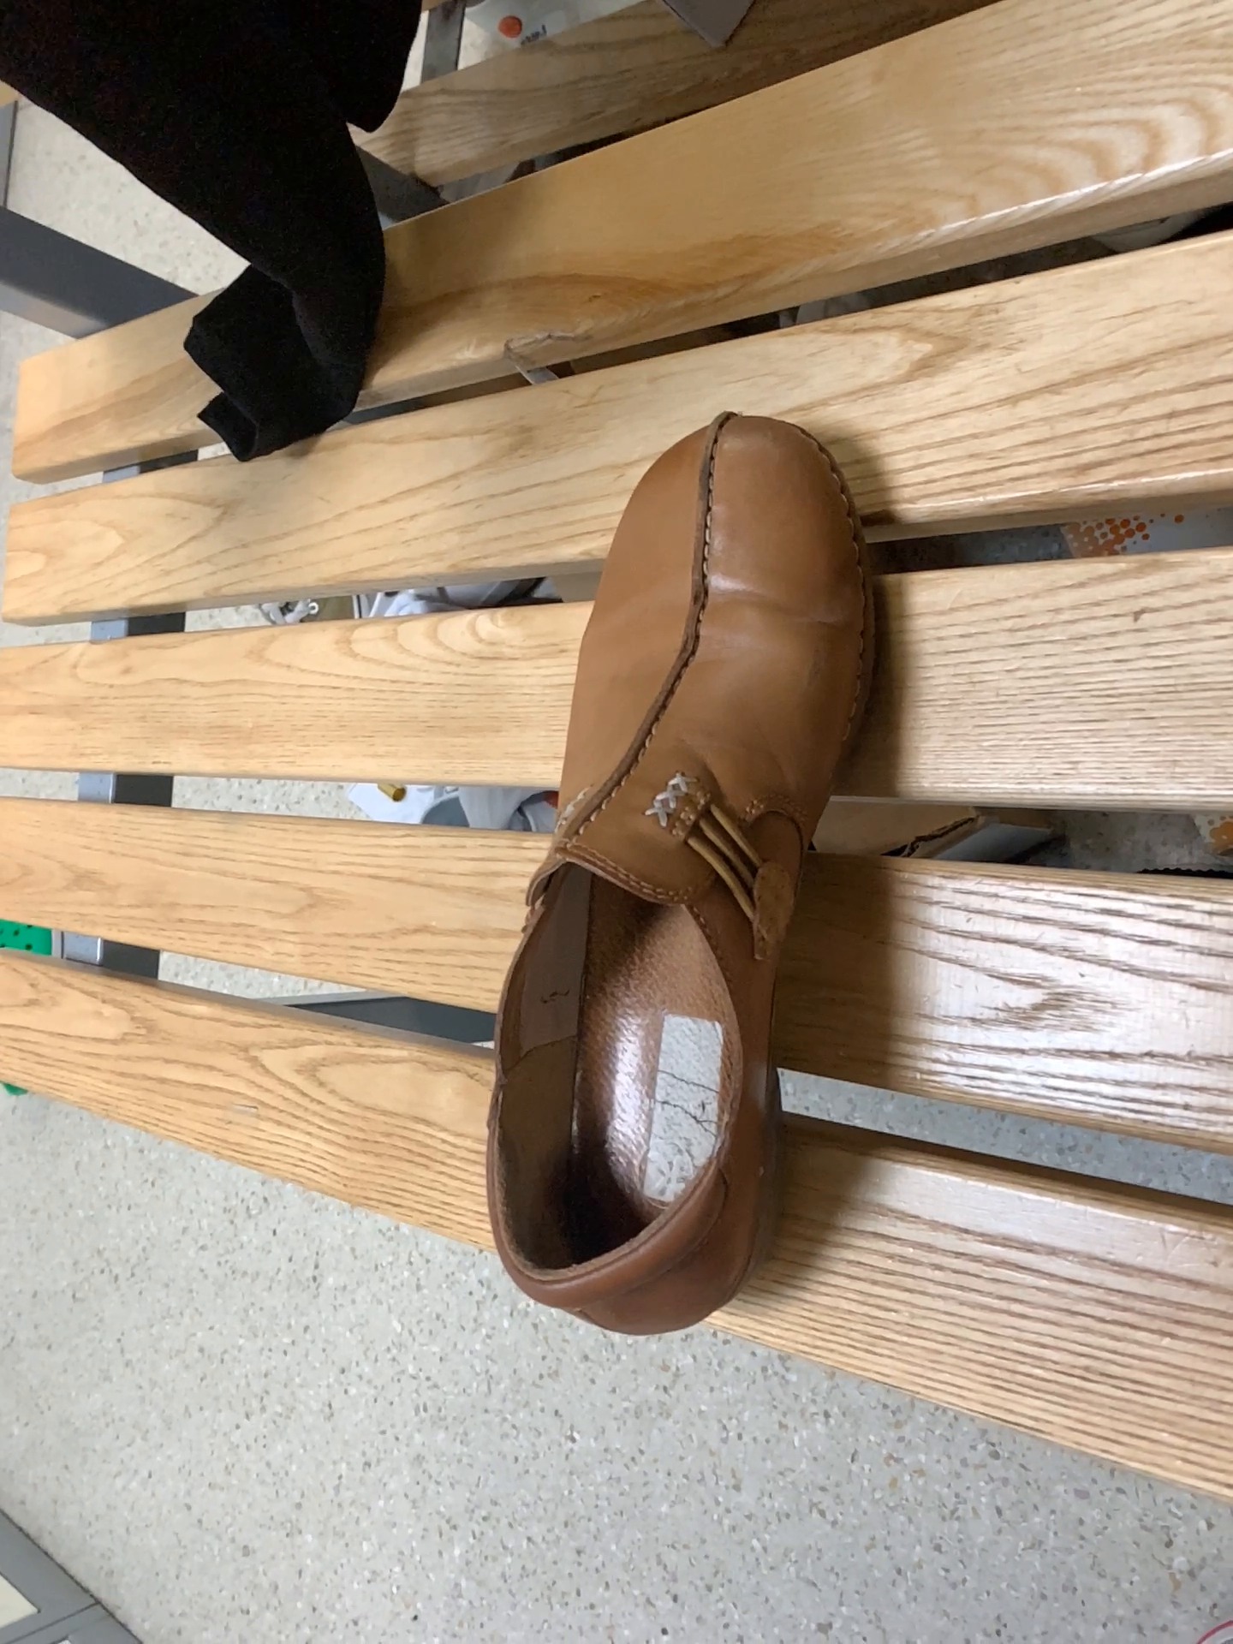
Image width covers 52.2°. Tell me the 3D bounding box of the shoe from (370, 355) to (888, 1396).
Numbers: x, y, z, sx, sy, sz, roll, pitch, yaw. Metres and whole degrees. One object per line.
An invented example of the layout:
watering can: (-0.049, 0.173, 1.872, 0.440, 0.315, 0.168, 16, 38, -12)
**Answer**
shoe: (0.005, 0.013, 0.364, 0.112, 0.085, 0.245, 0, 86, 38)
